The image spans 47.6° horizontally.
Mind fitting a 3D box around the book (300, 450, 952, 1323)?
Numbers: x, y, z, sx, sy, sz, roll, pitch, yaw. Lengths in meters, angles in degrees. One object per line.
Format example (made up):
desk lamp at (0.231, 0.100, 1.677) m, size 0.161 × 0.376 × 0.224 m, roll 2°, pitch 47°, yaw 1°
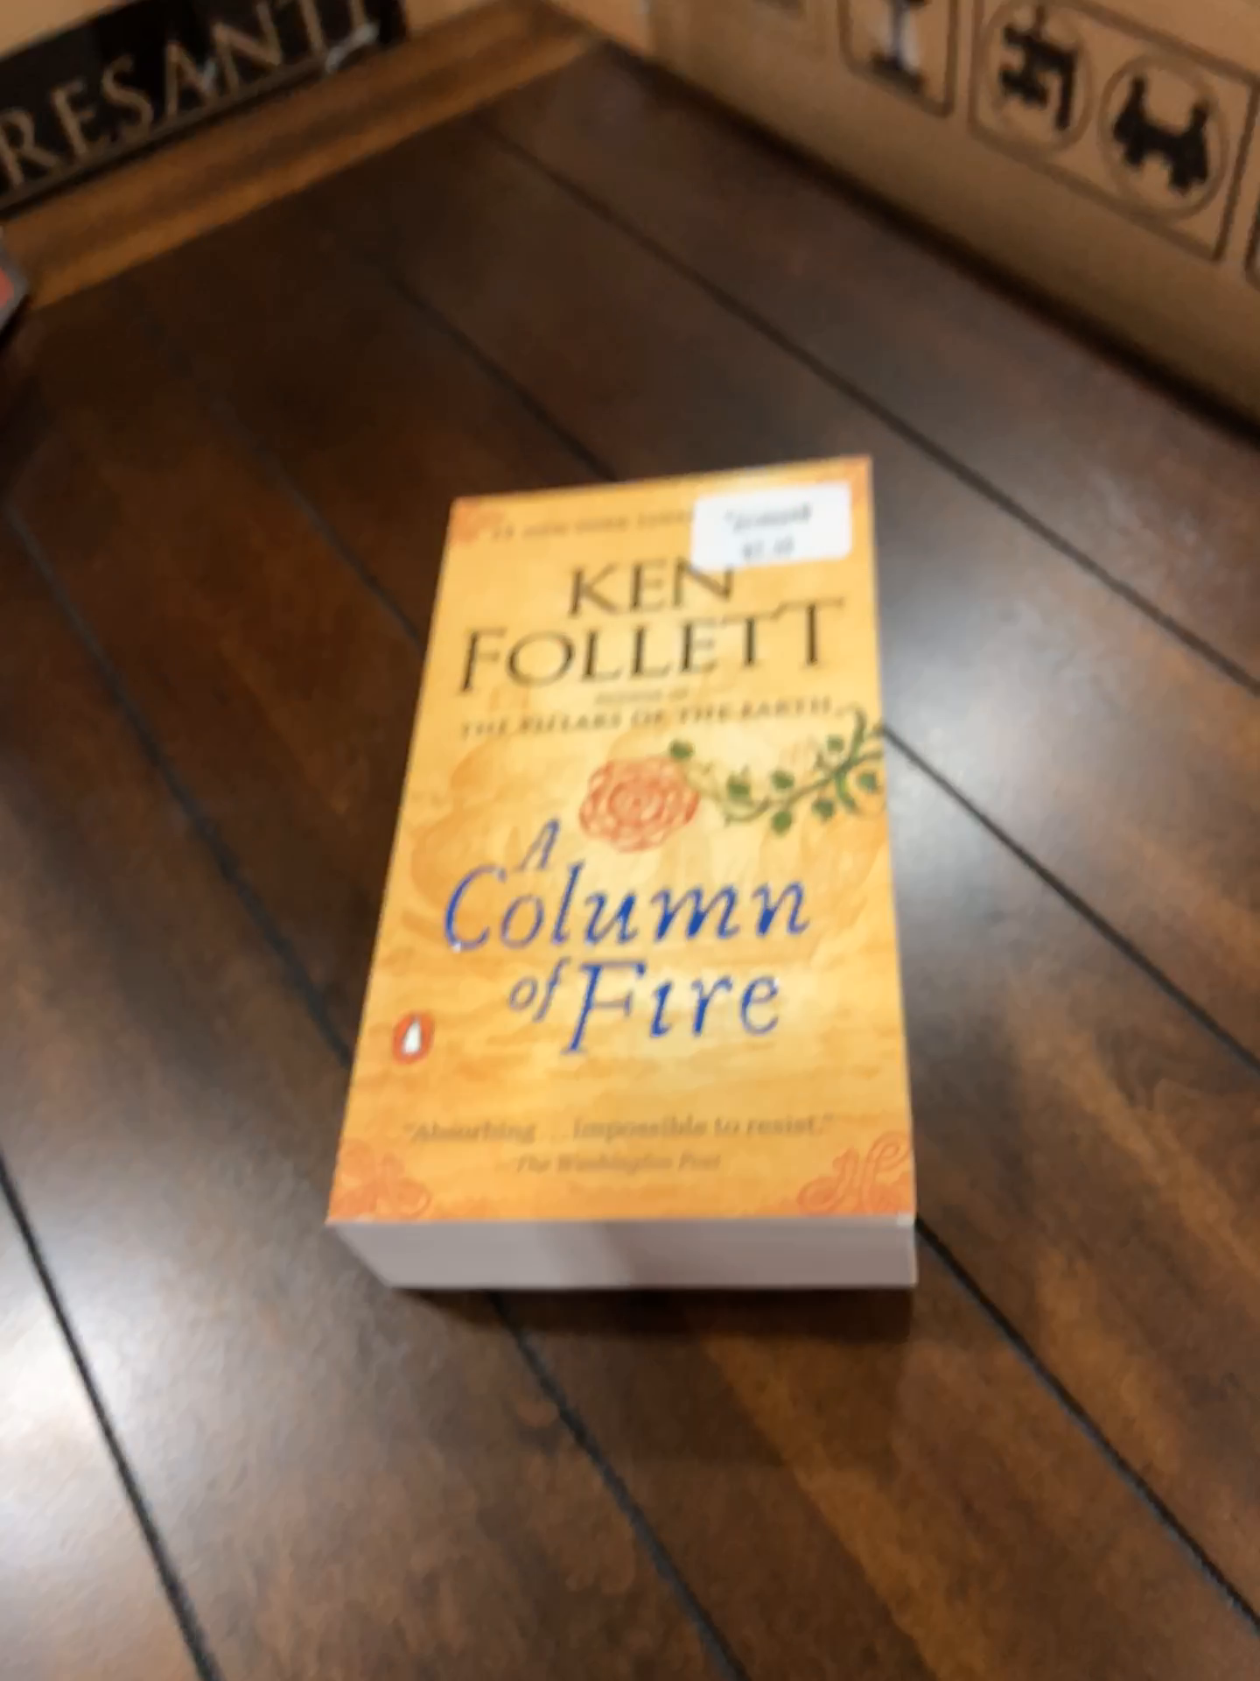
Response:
book at (0.005, -0.001, 0.311) m, size 0.110 × 0.040 × 0.195 m, roll -2°, pitch 55°, yaw 8°
